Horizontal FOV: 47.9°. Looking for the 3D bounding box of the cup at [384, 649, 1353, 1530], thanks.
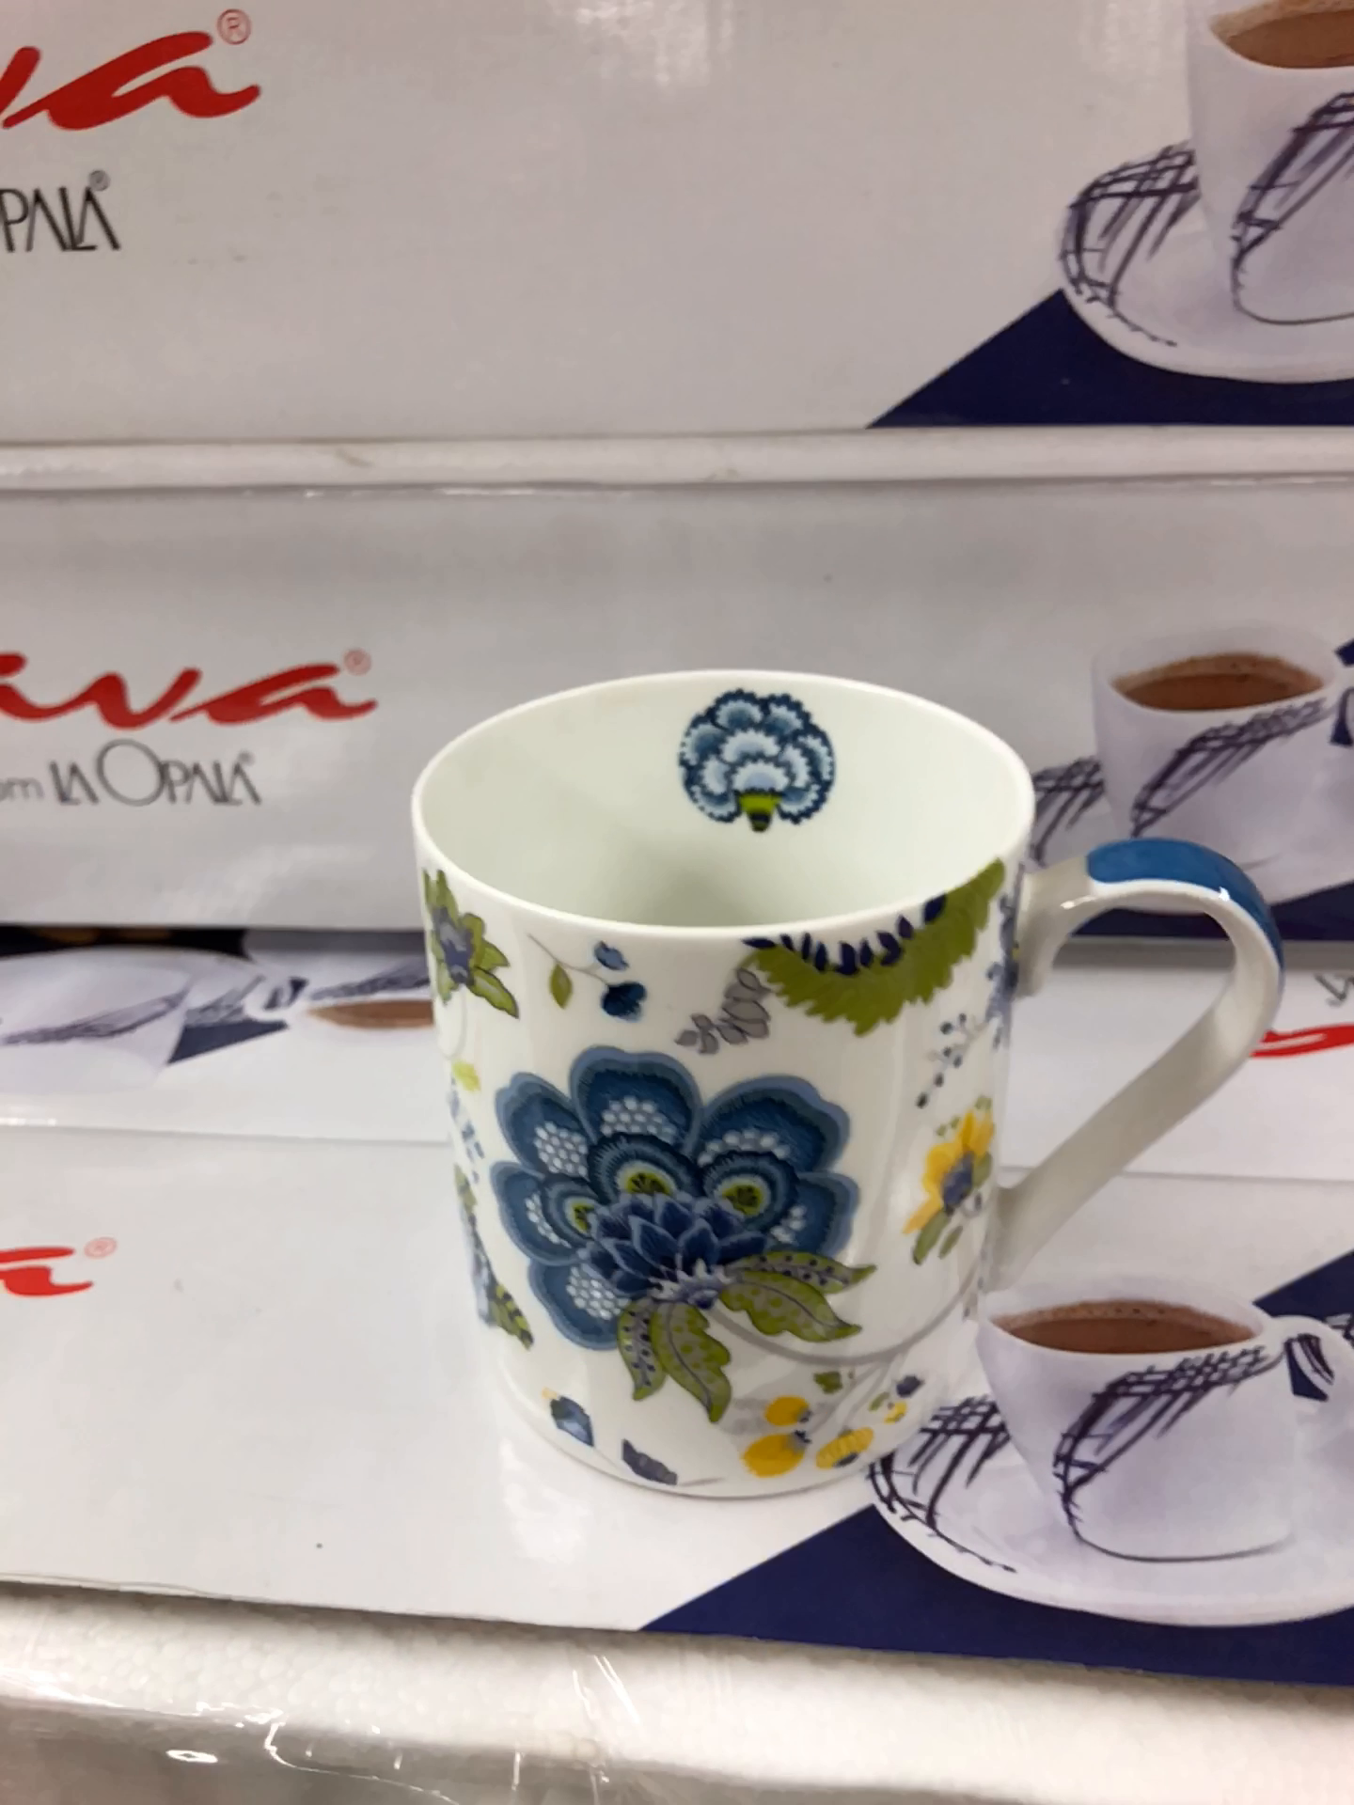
[{"bbox_3d":[0.022,0.023,0.203,0.100,0.089,0.070,-2,30,0],"label":"cup"}]
